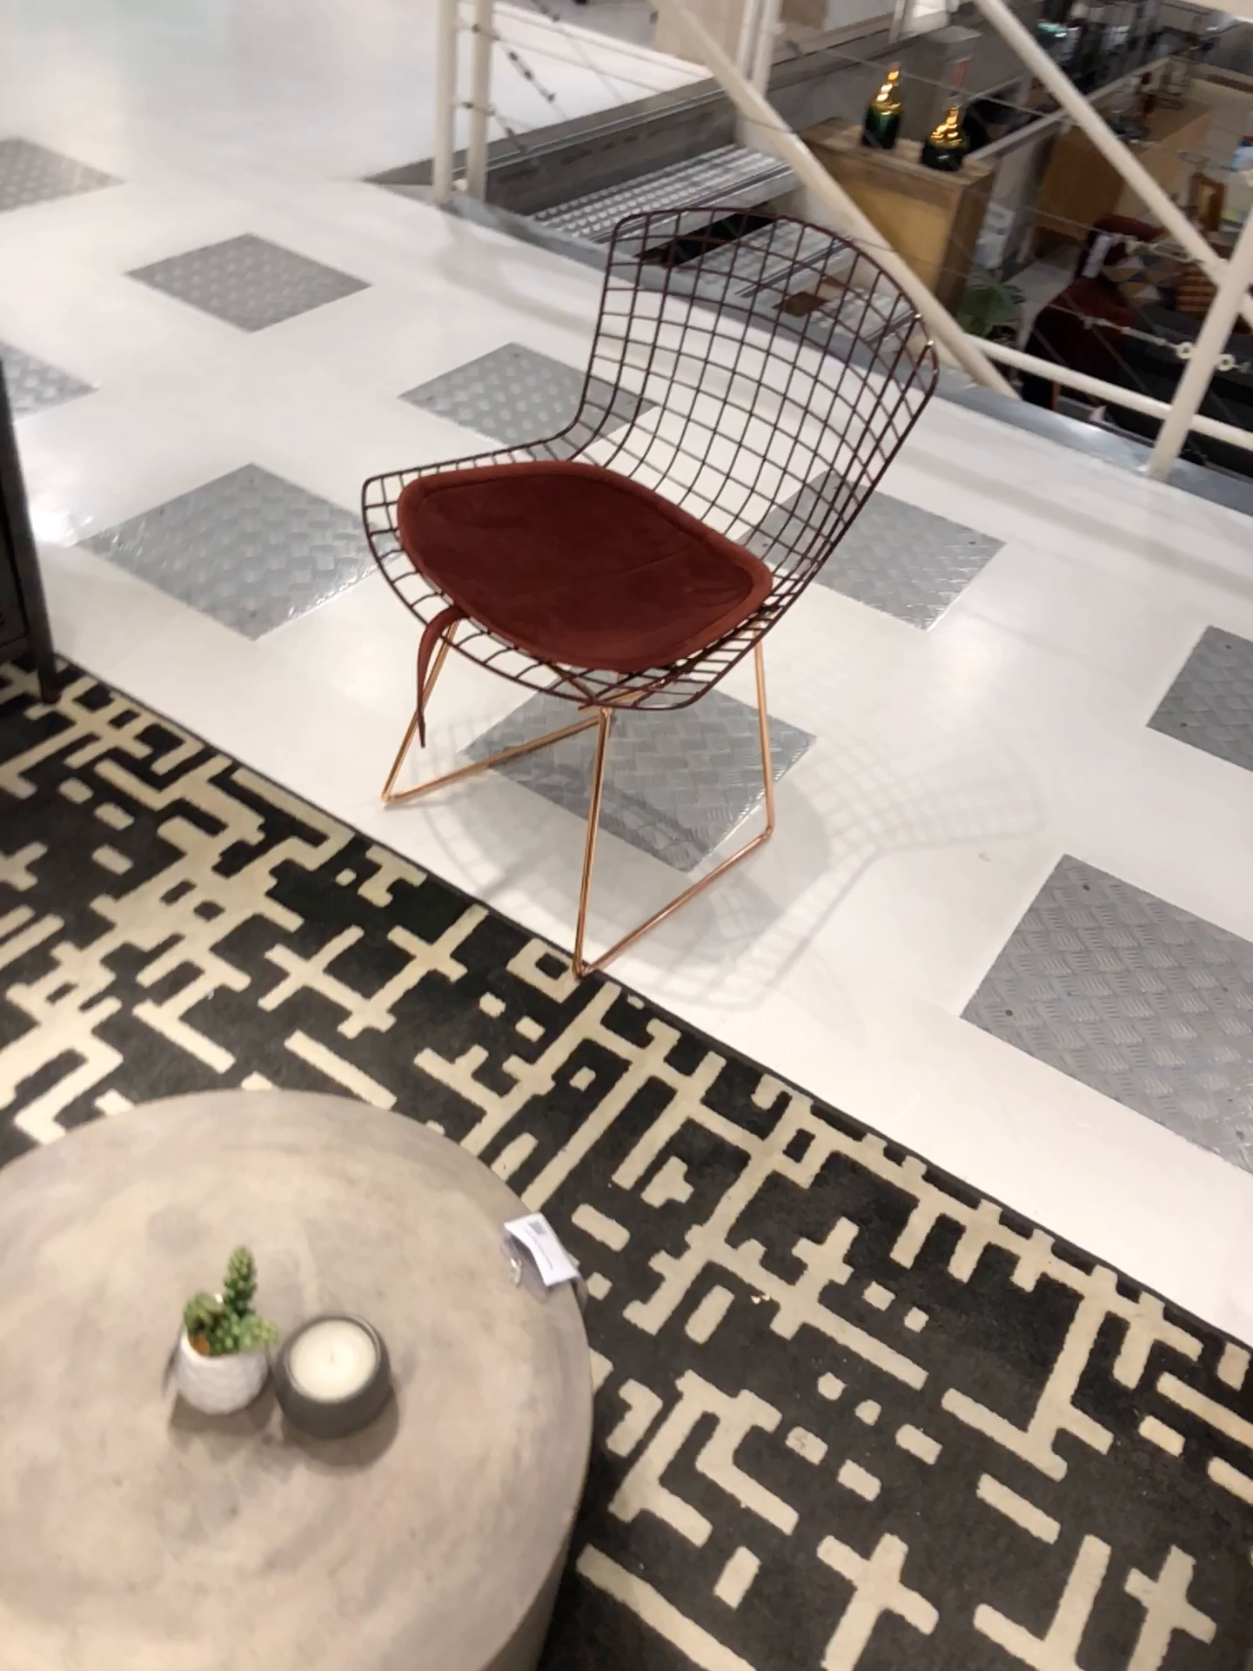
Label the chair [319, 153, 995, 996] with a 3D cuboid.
[{"bbox_3d":[-0.013,-0.326,1.687,0.502,0.764,0.512,-27,53,-34],"label":"chair"}]
